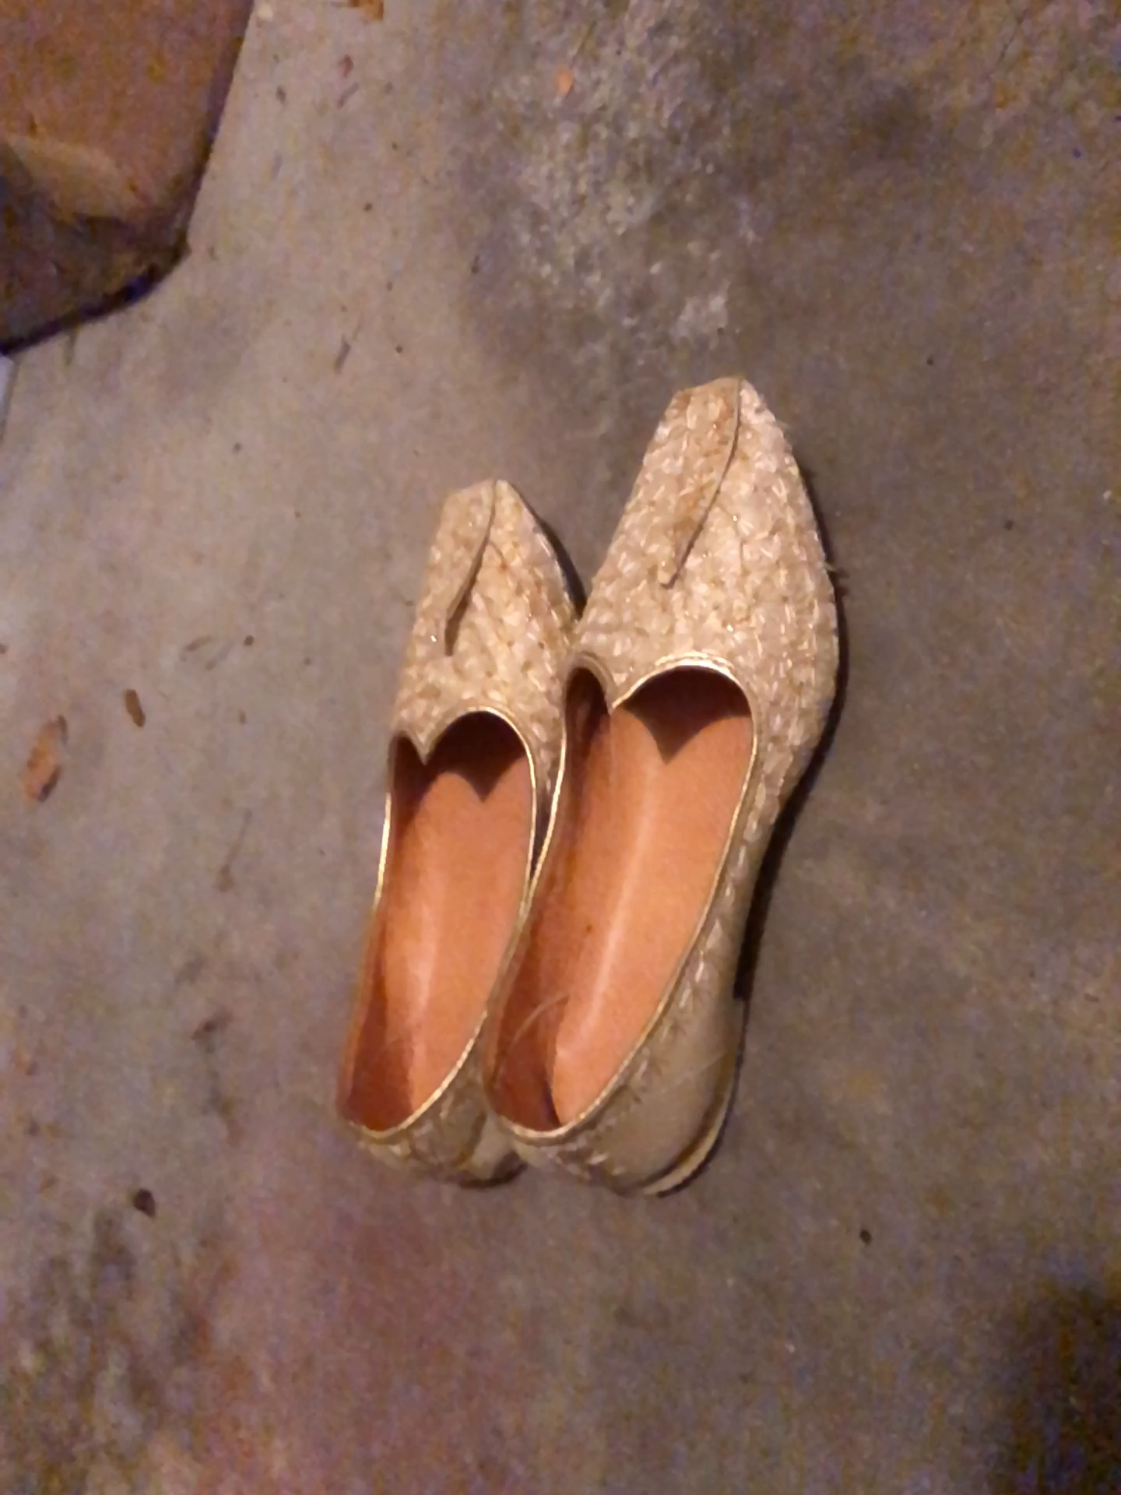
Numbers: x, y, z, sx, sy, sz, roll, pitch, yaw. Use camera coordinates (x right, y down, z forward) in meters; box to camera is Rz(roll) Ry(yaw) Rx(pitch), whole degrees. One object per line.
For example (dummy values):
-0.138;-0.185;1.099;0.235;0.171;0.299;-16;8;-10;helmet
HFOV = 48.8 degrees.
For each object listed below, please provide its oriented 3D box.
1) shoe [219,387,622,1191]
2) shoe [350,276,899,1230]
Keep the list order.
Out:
-0.048;0.017;0.468;0.104;0.073;0.275;-11;67;40;shoe
0.024;0.001;0.405;0.104;0.073;0.275;3;77;44;shoe
